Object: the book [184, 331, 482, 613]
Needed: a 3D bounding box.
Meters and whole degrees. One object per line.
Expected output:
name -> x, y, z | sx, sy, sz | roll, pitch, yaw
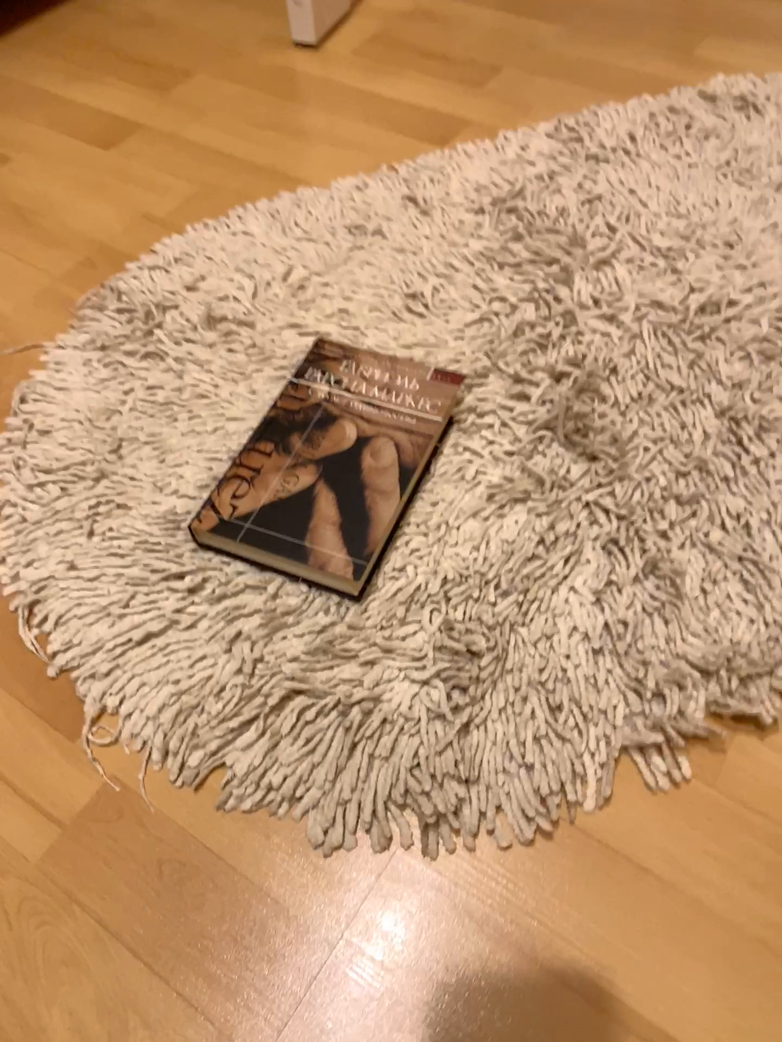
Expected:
book -> -0.035, -0.048, 0.599 | 0.140, 0.030, 0.211 | 18, 57, 16
